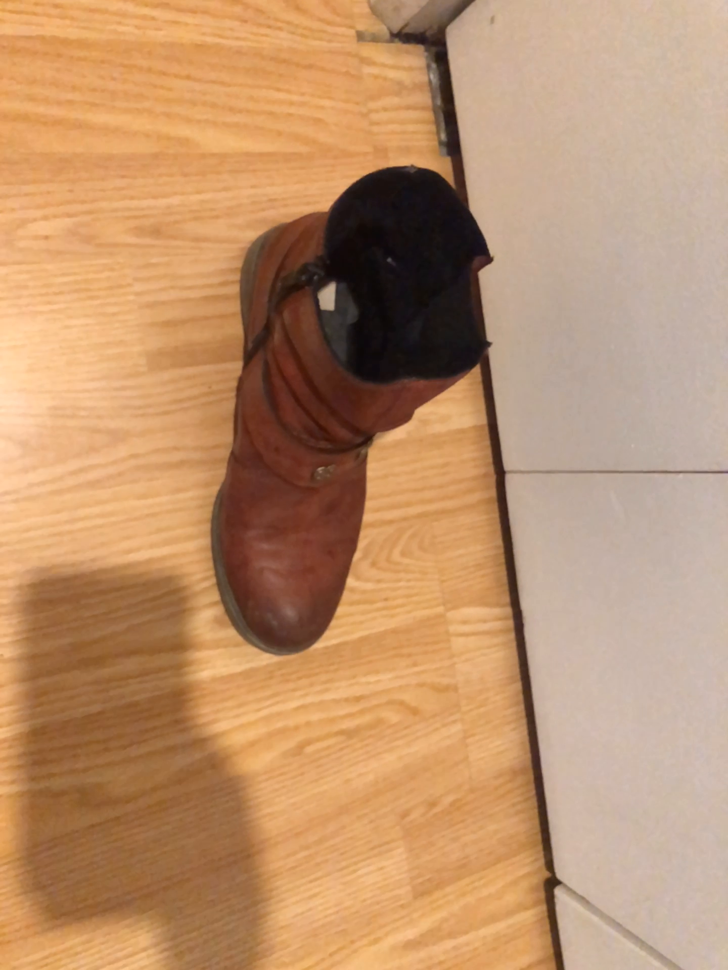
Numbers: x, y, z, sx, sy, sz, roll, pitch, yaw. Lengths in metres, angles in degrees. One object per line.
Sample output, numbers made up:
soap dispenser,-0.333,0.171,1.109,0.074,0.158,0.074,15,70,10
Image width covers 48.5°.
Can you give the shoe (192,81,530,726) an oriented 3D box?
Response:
shoe,-0.013,-0.032,0.435,0.100,0.170,0.270,5,89,-25
